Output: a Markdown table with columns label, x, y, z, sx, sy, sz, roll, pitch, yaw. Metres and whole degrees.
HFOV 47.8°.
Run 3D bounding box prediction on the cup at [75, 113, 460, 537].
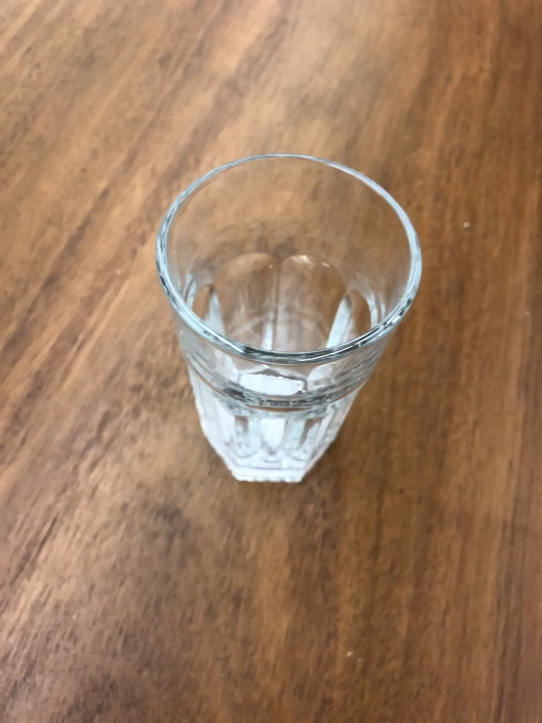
| label | x | y | z | sx | sy | sz | roll | pitch | yaw |
| --- | --- | --- | --- | --- | --- | --- | --- | --- | --- |
| cup | 0.000 | -0.005 | 0.192 | 0.070 | 0.095 | 0.072 | 1 | 61 | -2 |
